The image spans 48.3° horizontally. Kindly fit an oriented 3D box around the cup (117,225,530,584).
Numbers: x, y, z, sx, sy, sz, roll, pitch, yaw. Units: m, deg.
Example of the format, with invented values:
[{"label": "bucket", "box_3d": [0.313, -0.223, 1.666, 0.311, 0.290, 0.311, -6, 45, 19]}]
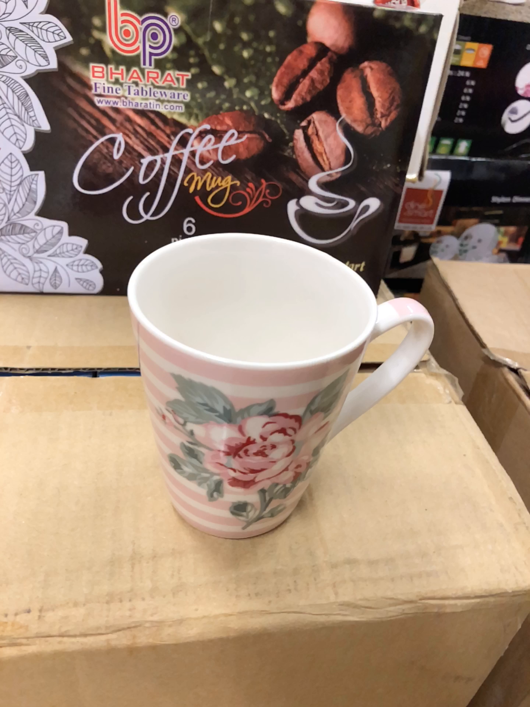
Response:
[{"label": "cup", "box_3d": [0.014, 0.012, 0.231, 0.130, 0.089, 0.090, -4, 38, -16]}]
